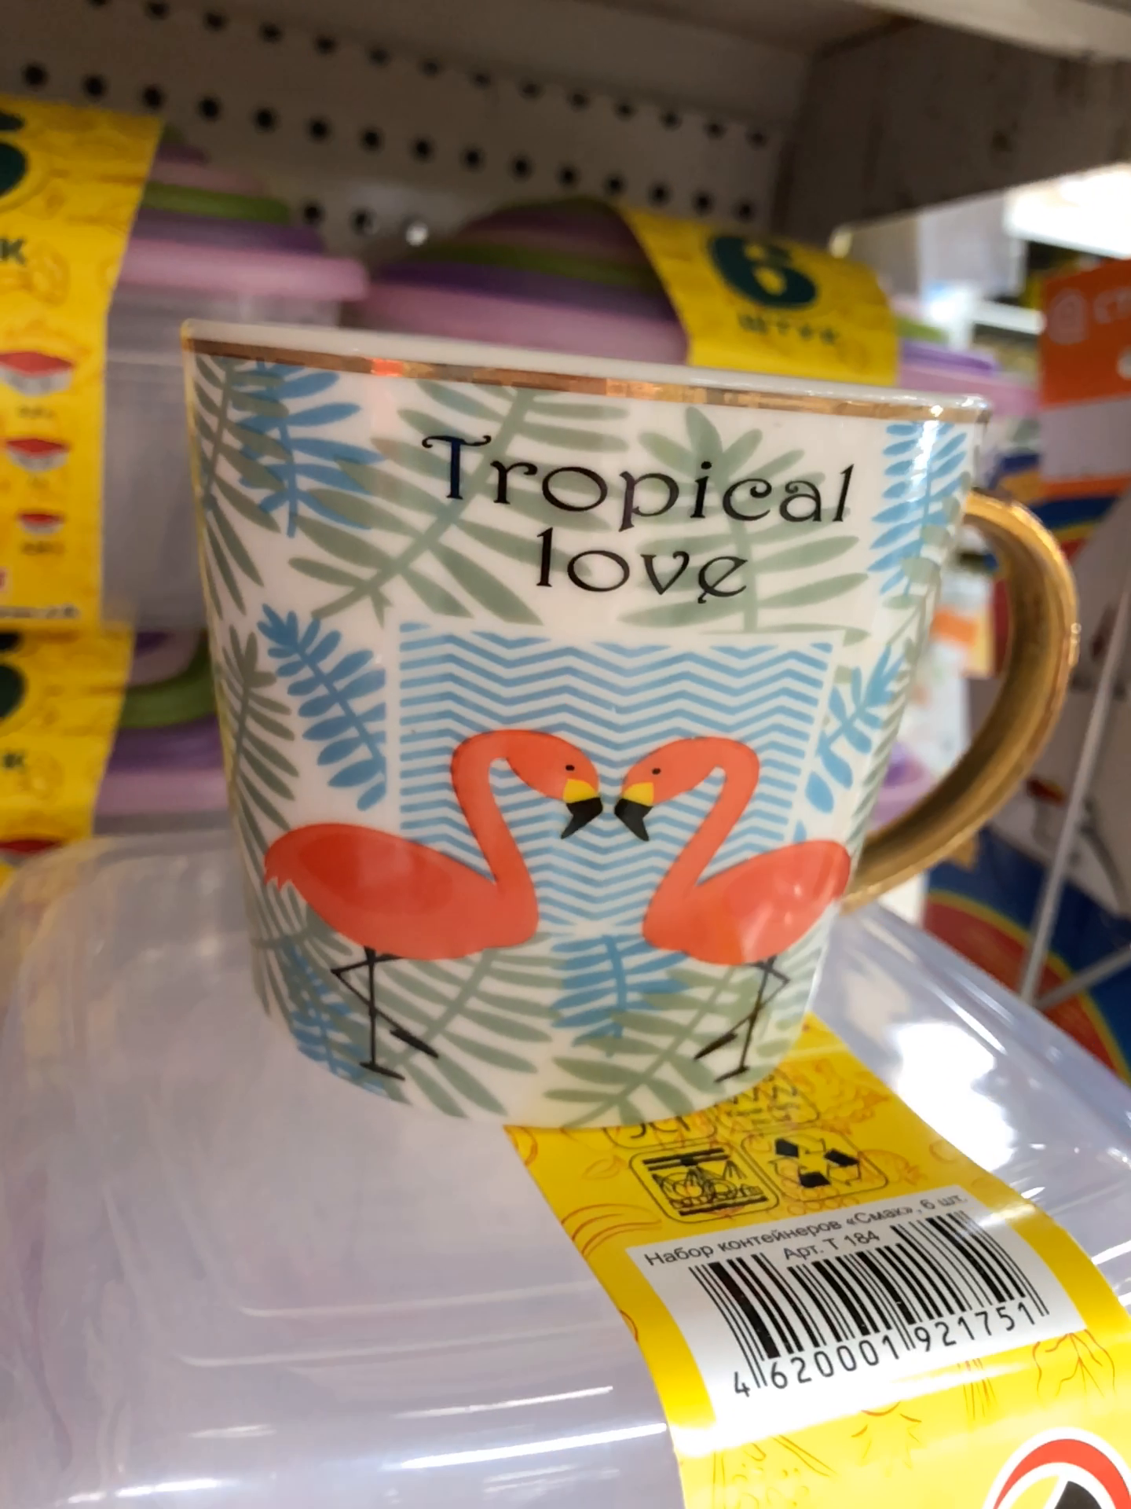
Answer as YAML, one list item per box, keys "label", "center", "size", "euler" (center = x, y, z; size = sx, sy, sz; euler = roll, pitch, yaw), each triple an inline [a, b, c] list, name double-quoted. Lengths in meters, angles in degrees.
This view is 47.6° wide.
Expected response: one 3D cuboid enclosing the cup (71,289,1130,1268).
- label: "cup"
  center: [0.009, -0.014, 0.183]
  size: [0.128, 0.085, 0.102]
  euler: [-6, 22, -32]
